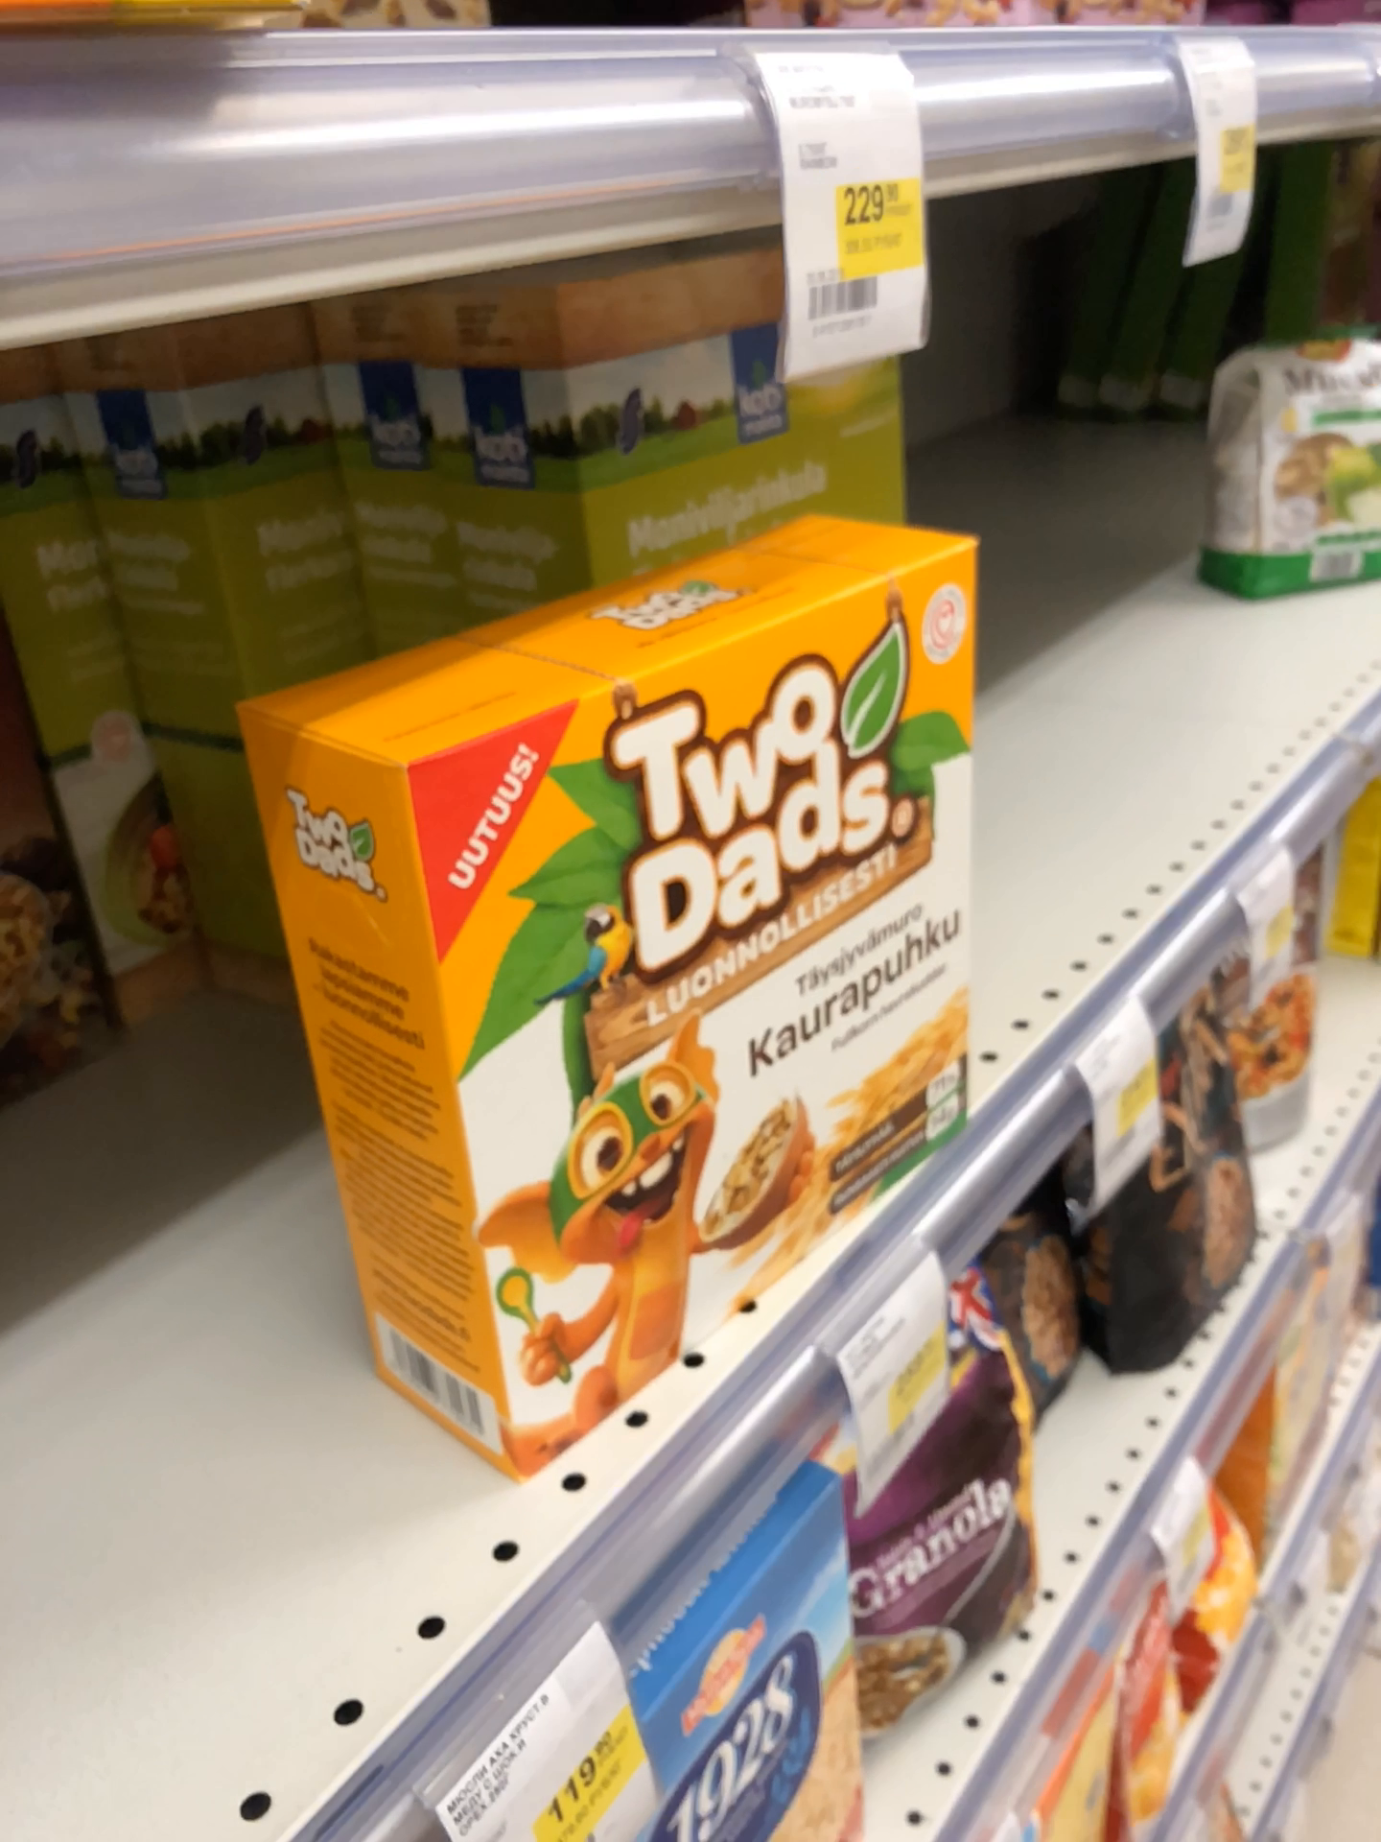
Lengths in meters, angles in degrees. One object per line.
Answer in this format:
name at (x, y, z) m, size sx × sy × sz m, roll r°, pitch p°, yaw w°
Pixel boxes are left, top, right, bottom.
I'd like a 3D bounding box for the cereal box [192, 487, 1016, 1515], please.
cereal box at (-0.001, 0.006, 0.402) m, size 0.070 × 0.189 × 0.201 m, roll 18°, pitch 35°, yaw 40°
